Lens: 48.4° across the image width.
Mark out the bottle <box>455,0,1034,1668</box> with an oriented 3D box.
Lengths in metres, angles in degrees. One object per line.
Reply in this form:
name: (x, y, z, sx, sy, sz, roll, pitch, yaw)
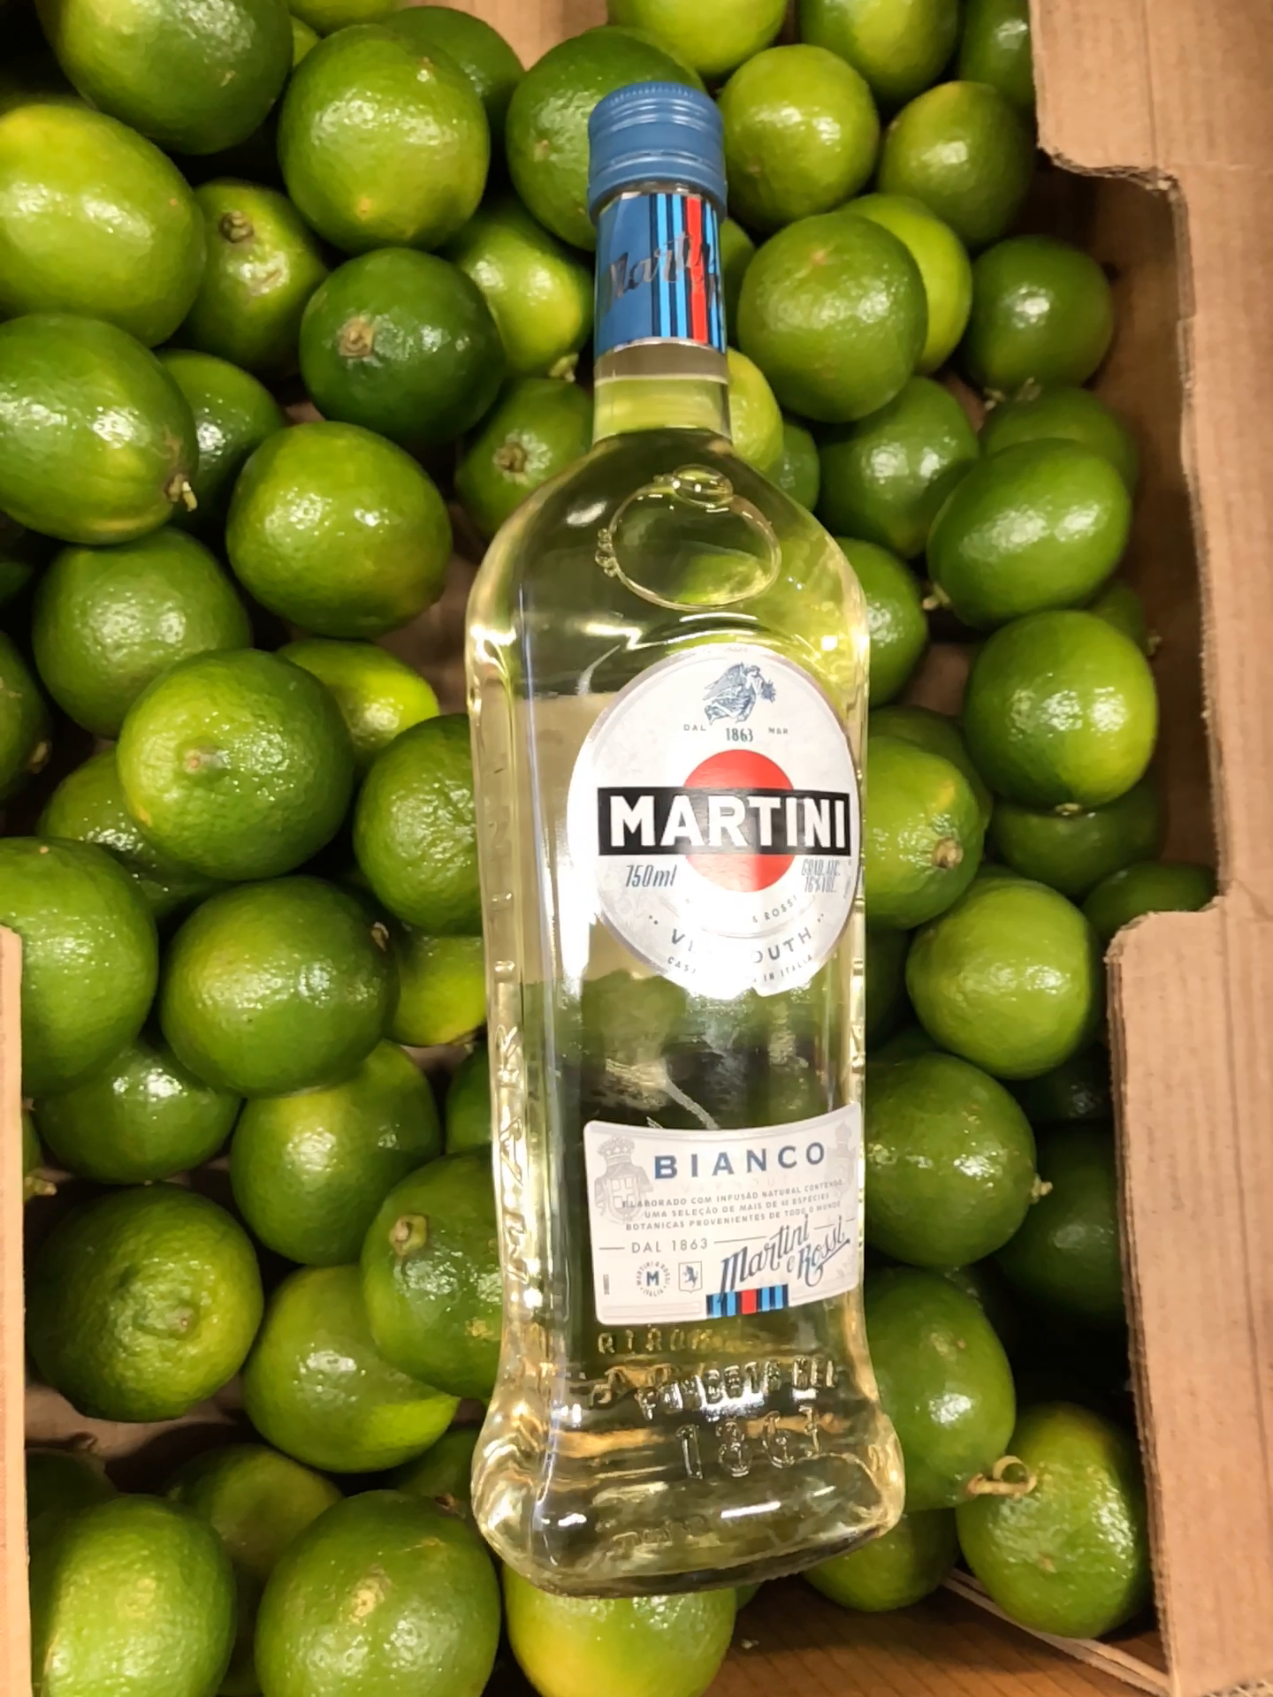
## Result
bottle: (0.018, -0.013, 0.306, 0.100, 0.050, 0.320, 1, 82, -21)
